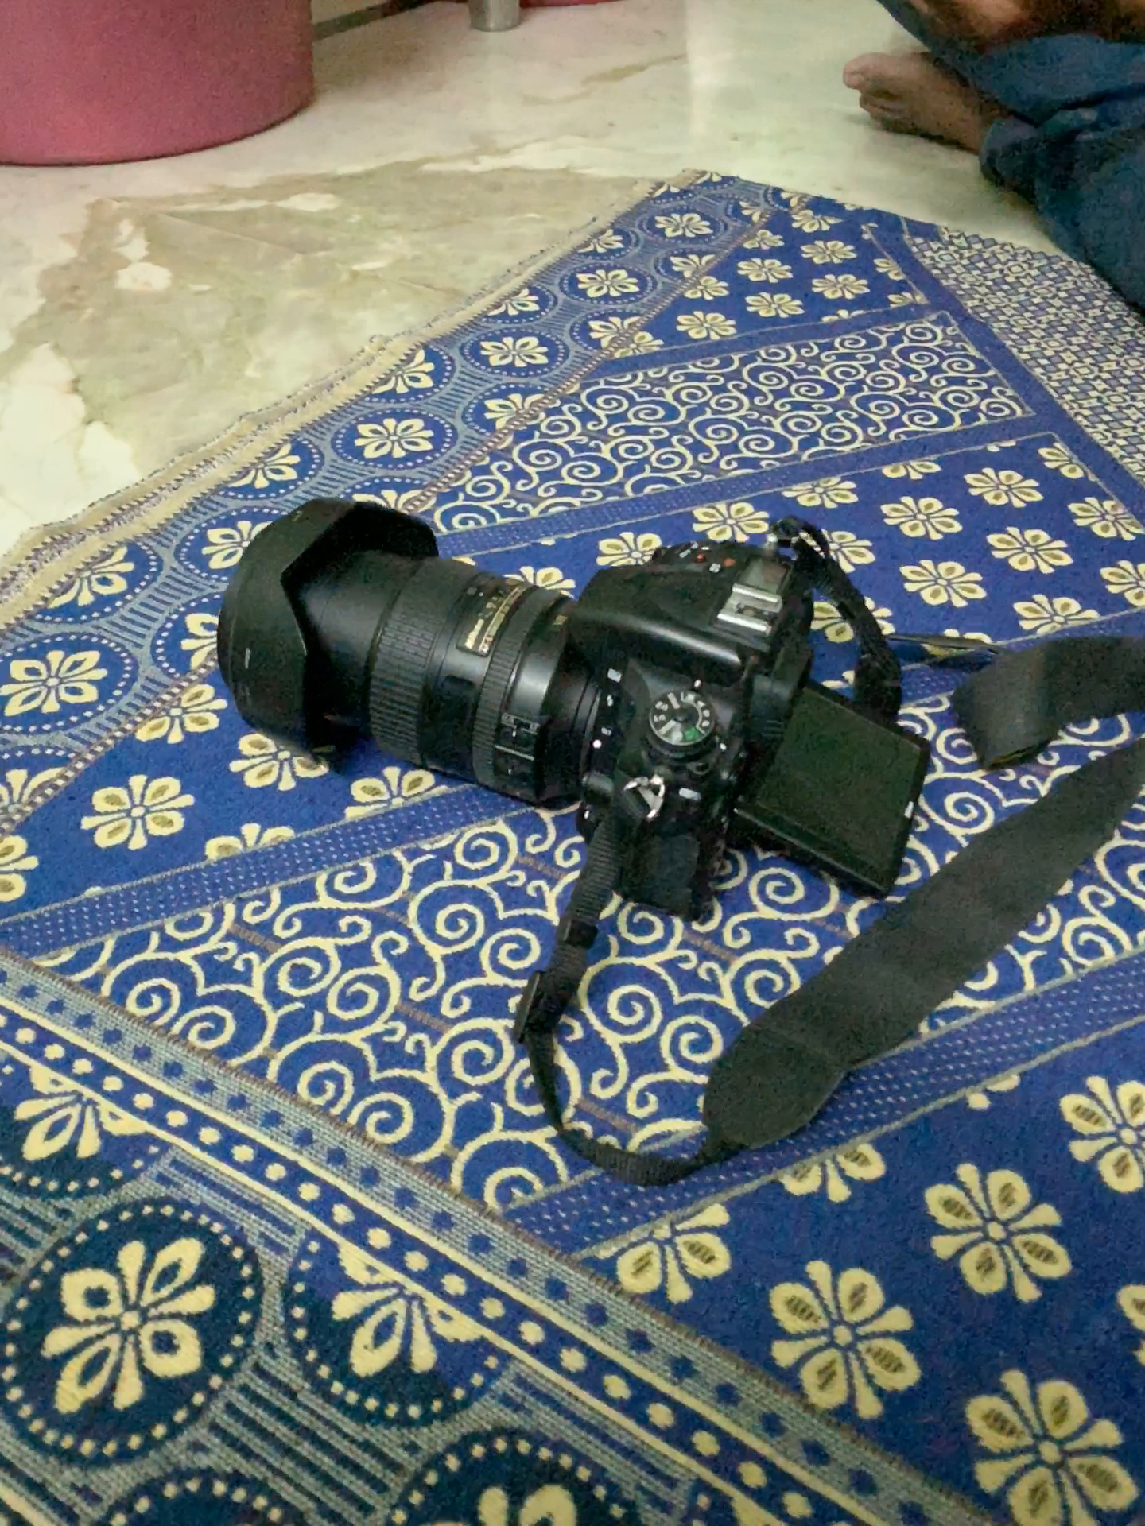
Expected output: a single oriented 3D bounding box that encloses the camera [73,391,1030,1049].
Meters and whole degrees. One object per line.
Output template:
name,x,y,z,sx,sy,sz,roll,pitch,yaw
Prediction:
camera,-0.005,-0.035,0.474,0.320,0.110,0.160,17,47,17
